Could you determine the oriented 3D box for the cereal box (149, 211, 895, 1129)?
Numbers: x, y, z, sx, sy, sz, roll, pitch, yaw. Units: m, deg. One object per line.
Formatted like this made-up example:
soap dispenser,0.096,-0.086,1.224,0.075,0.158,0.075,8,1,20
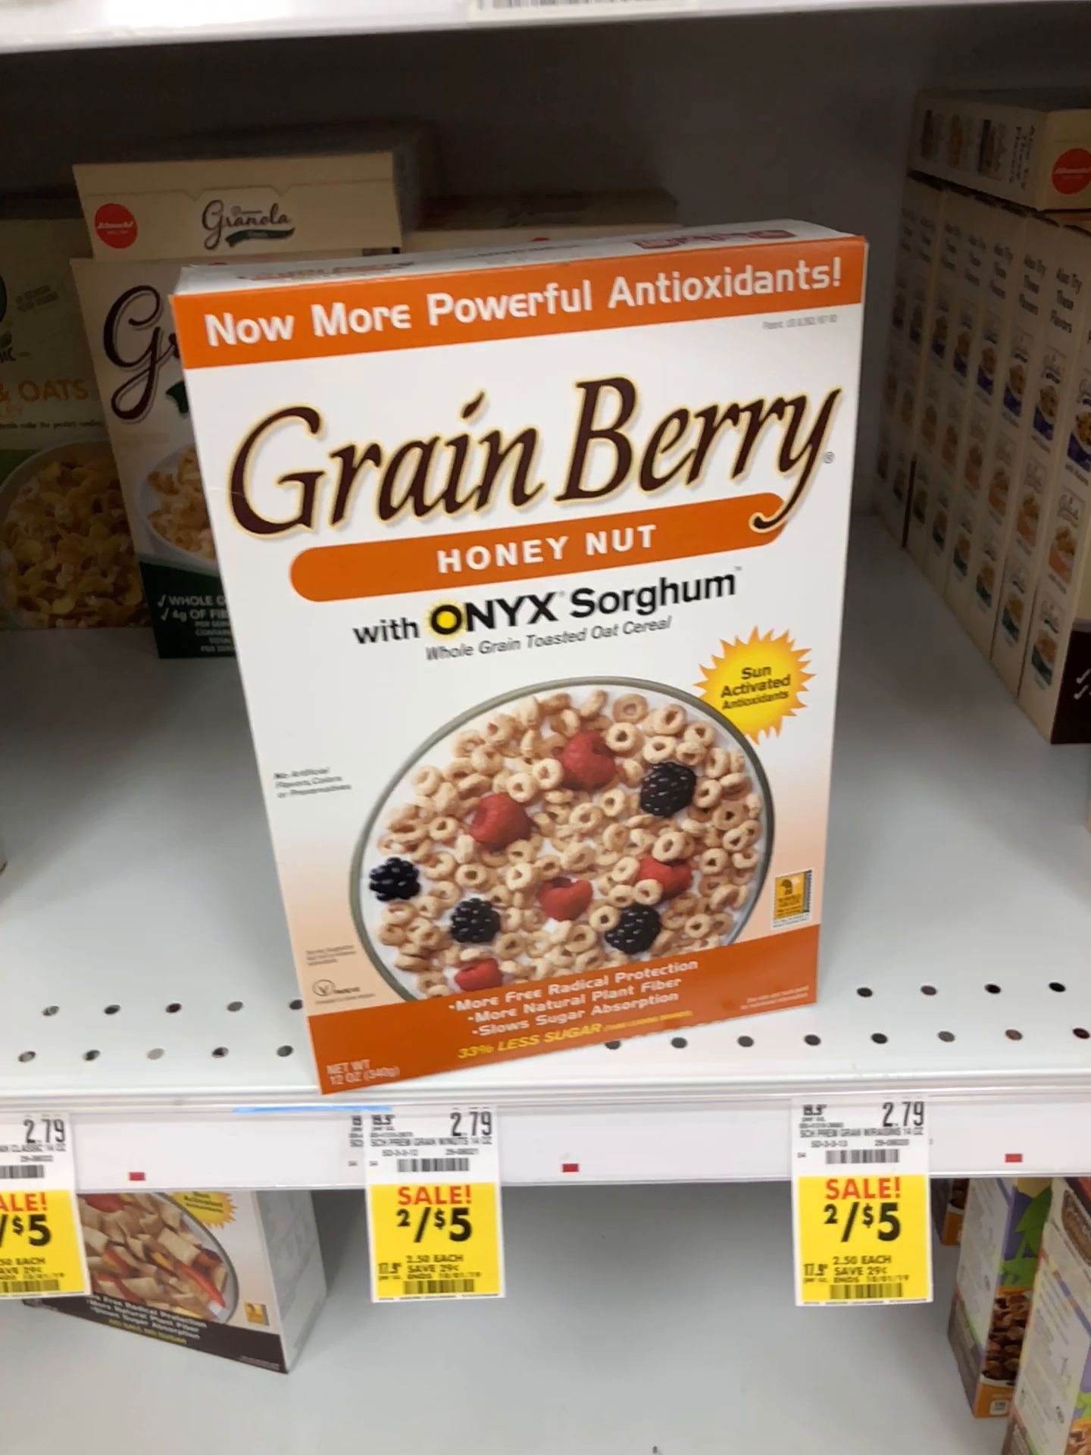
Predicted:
cereal box,-0.002,-0.011,0.418,0.200,0.289,0.070,-8,29,-9
